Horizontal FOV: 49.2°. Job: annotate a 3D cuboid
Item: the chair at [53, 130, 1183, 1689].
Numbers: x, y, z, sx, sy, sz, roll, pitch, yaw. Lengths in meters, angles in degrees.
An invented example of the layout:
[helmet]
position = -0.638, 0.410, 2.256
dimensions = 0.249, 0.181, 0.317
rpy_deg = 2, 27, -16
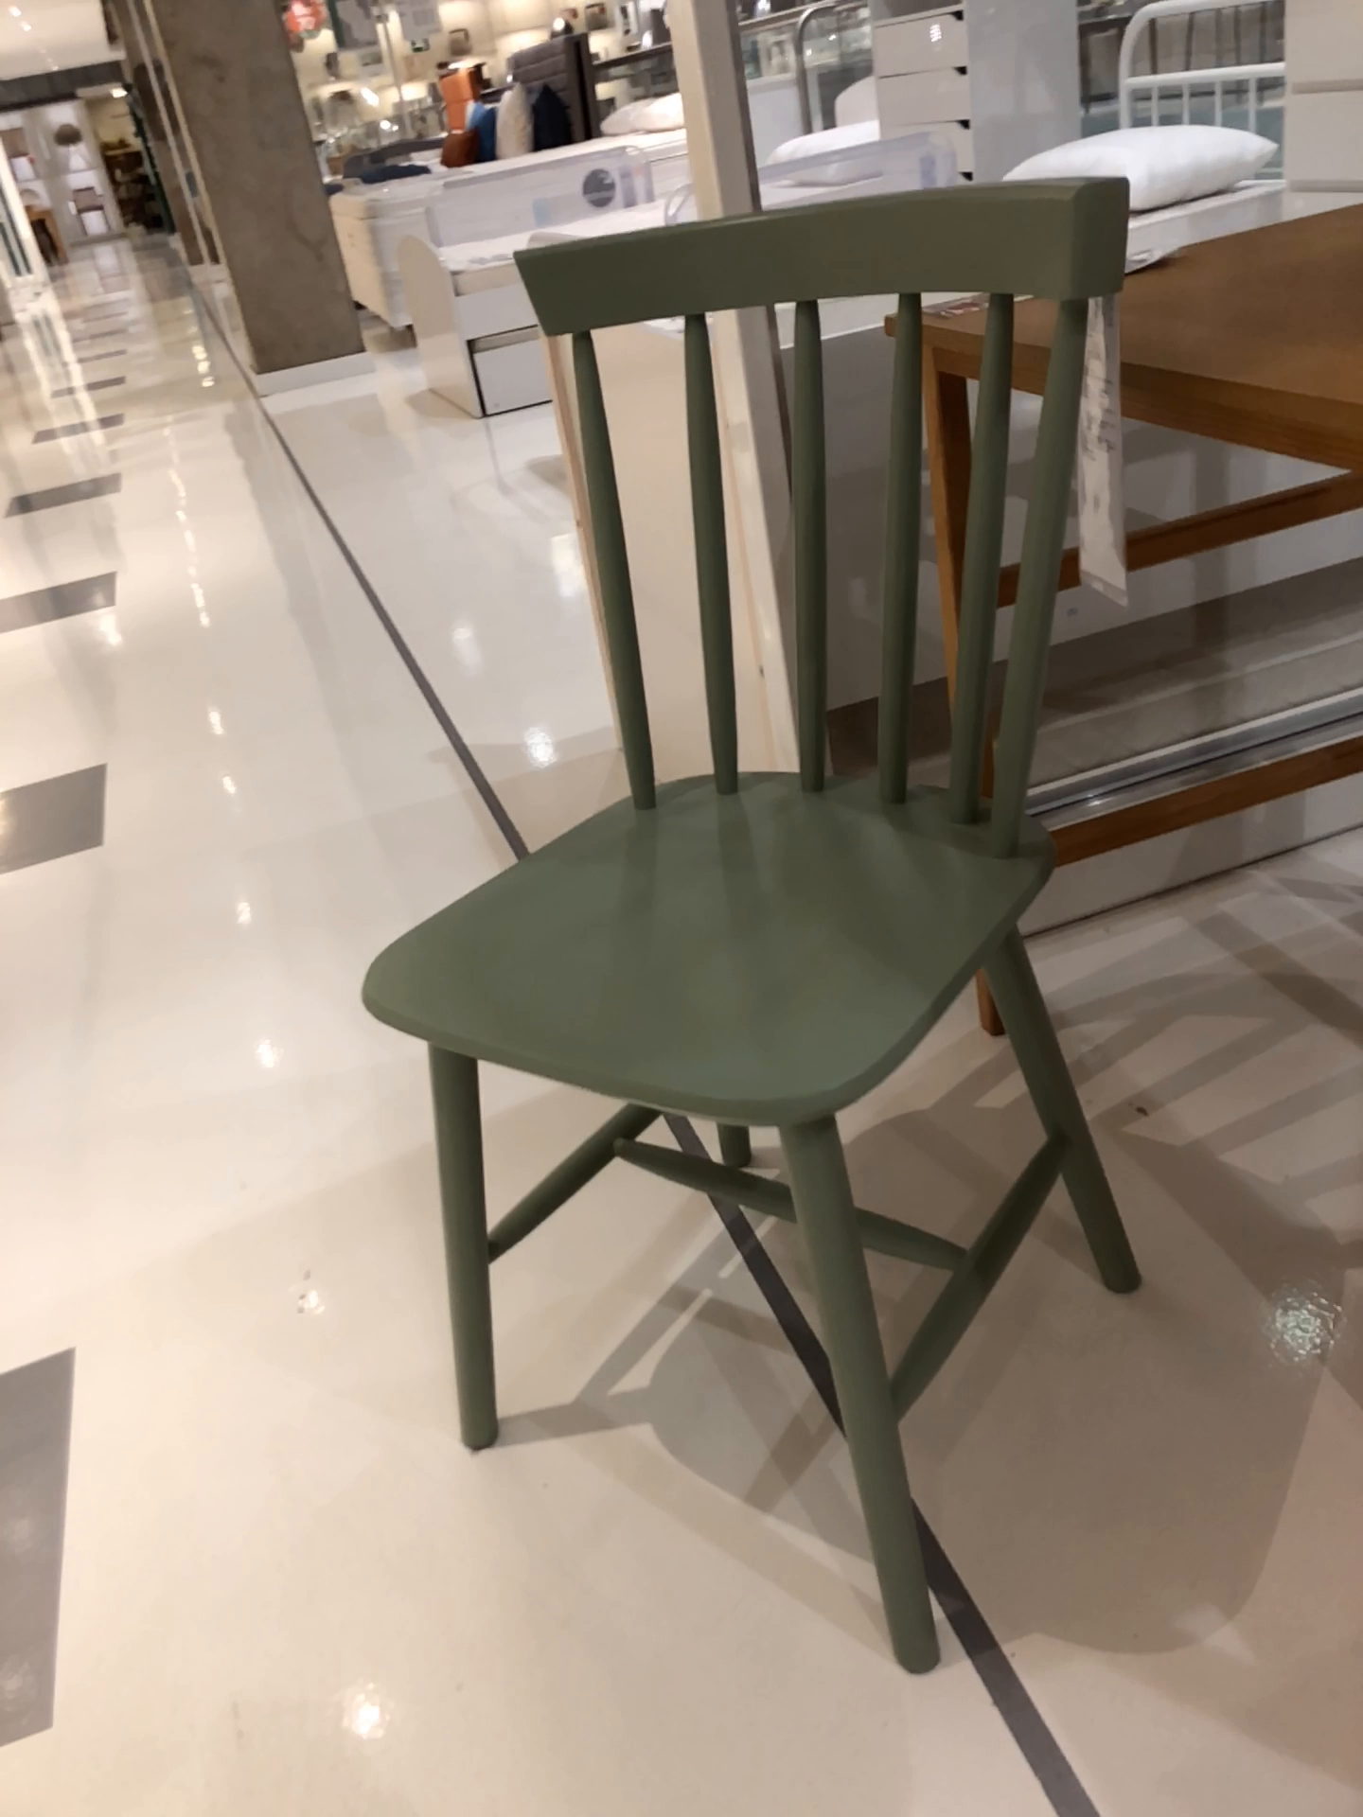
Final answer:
[chair]
position = 0.040, -0.015, 1.031
dimensions = 0.451, 0.834, 0.462
rpy_deg = 10, 35, 35
